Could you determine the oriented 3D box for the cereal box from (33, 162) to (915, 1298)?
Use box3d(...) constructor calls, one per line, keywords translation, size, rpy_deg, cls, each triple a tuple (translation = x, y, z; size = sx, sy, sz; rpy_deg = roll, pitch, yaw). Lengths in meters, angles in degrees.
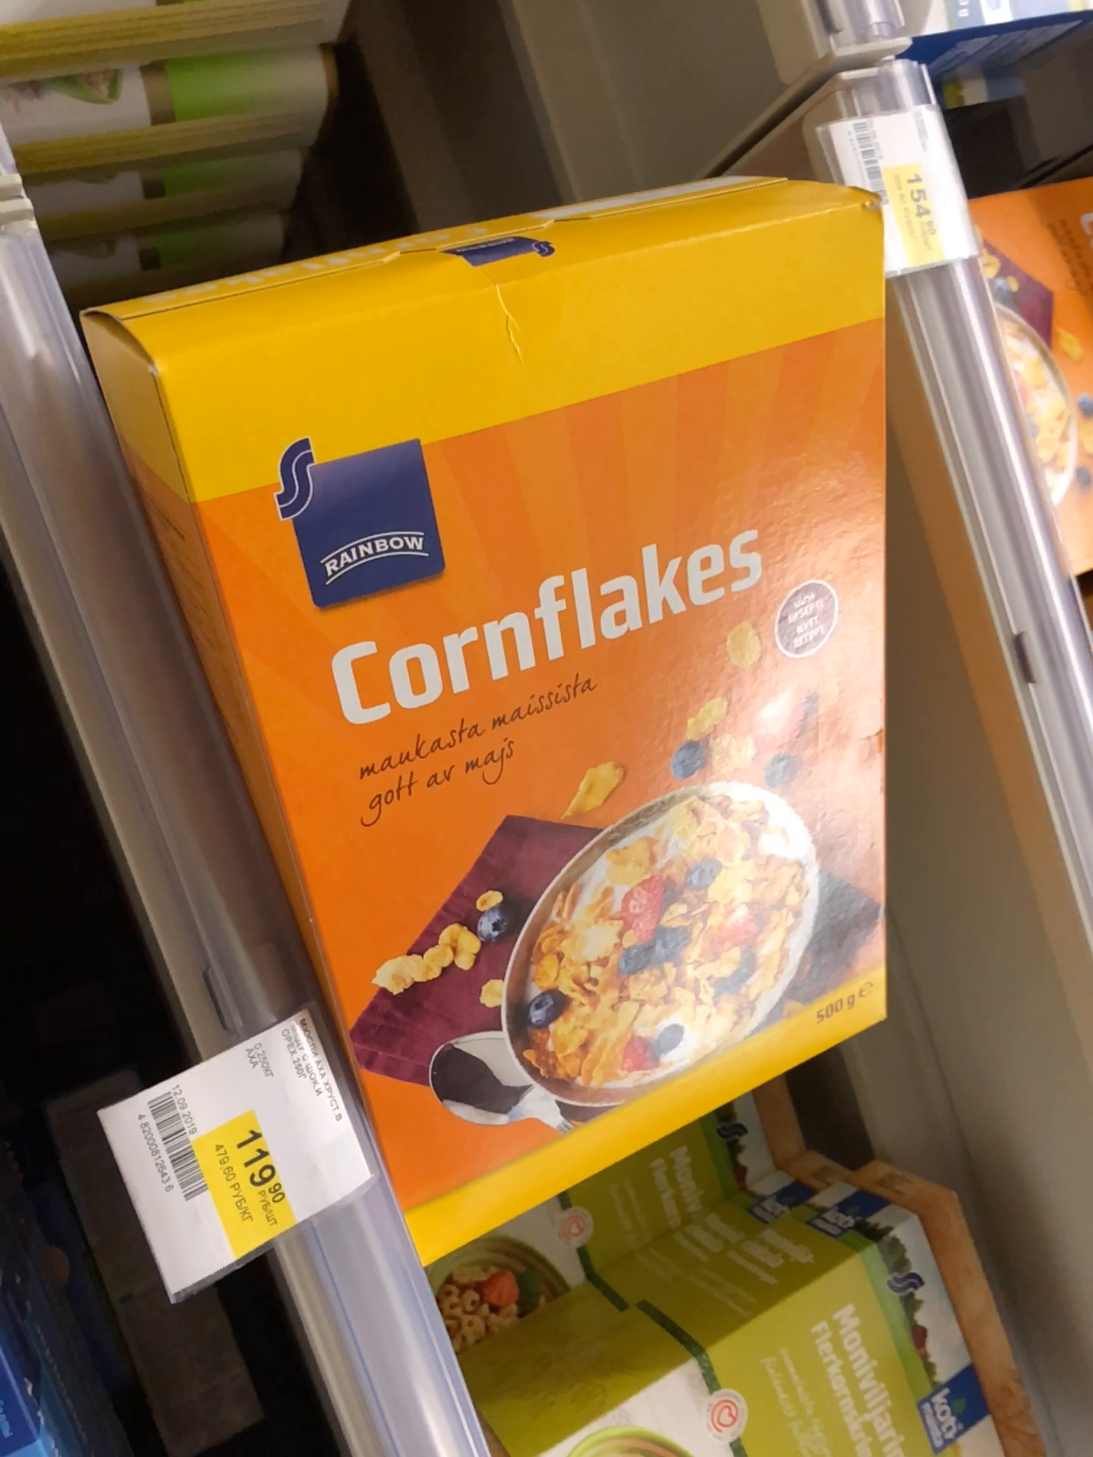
box3d(translation=(-0.004, -0.006, 0.387), size=(0.120, 0.201, 0.289), rpy_deg=(39, -36, 53), cls="cereal box")
